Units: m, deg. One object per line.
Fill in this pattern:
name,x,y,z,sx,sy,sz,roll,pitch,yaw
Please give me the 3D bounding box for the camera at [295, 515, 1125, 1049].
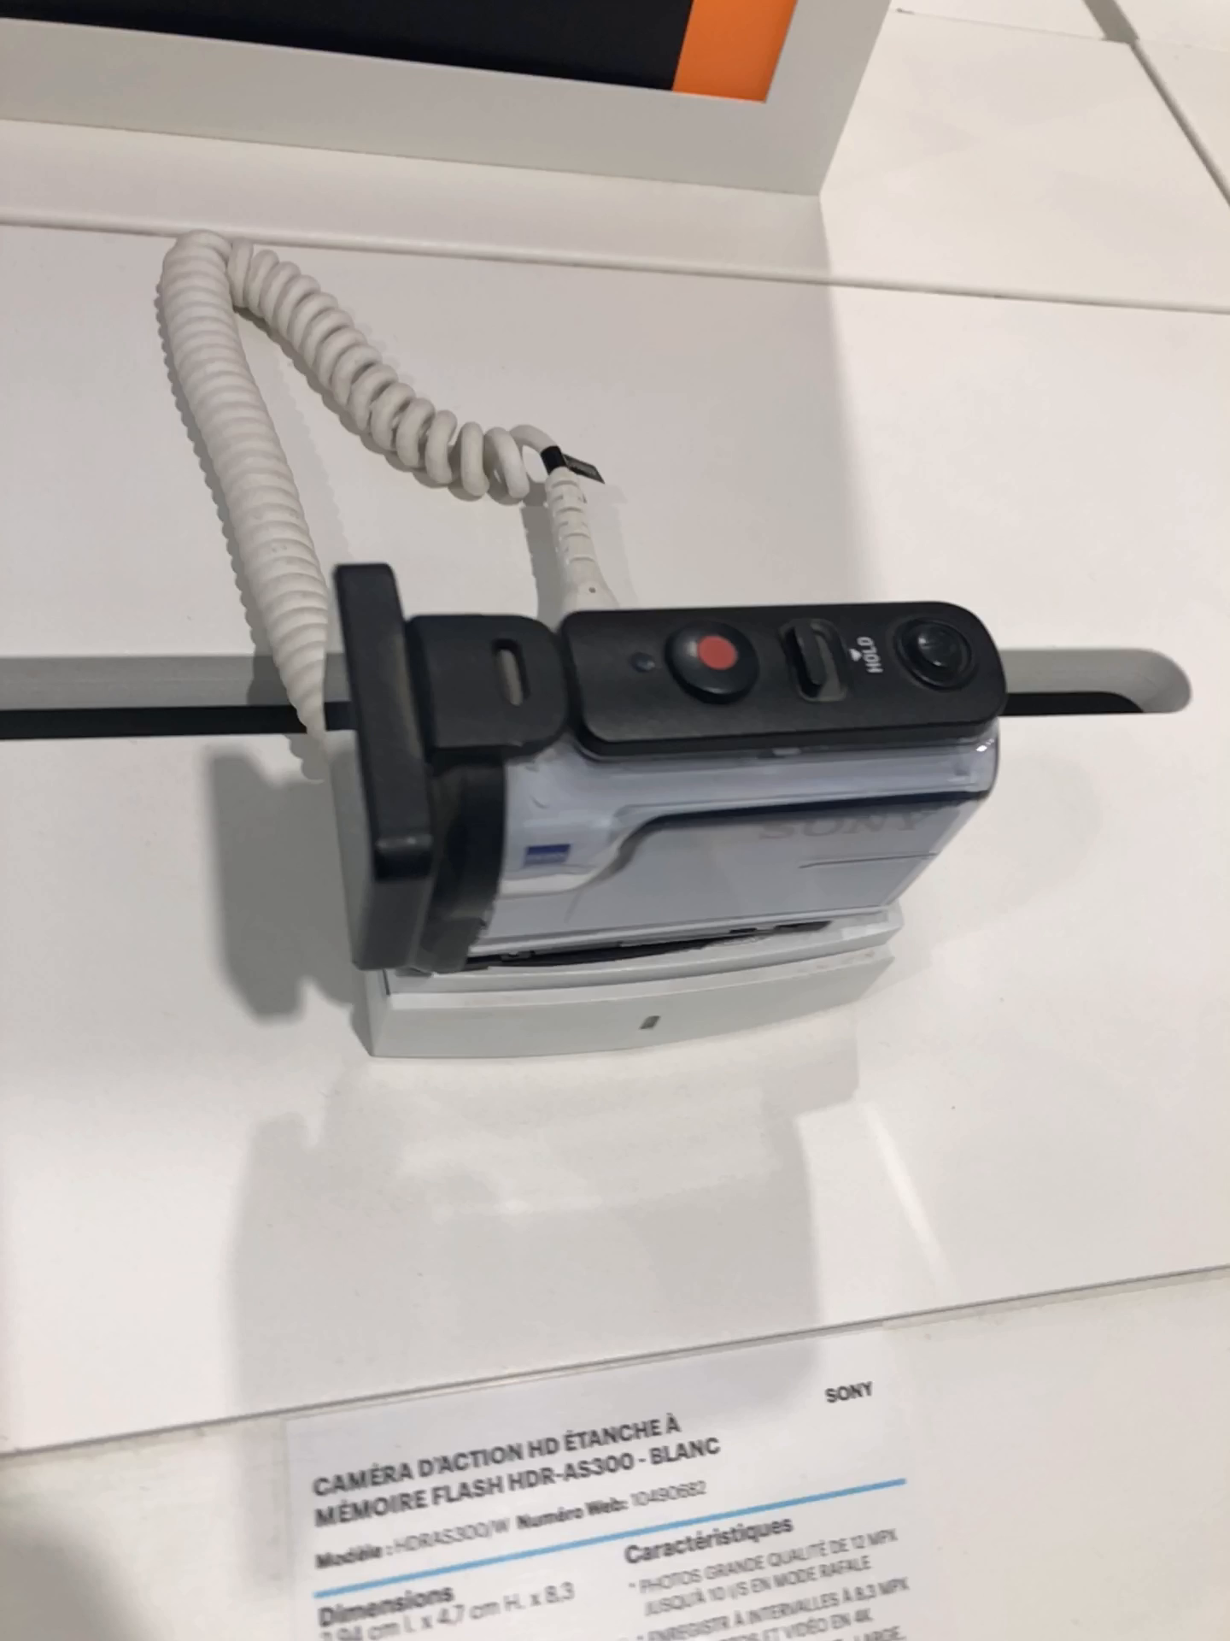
camera,0.007,-0.006,0.181,0.093,0.044,0.049,-3,58,-16
